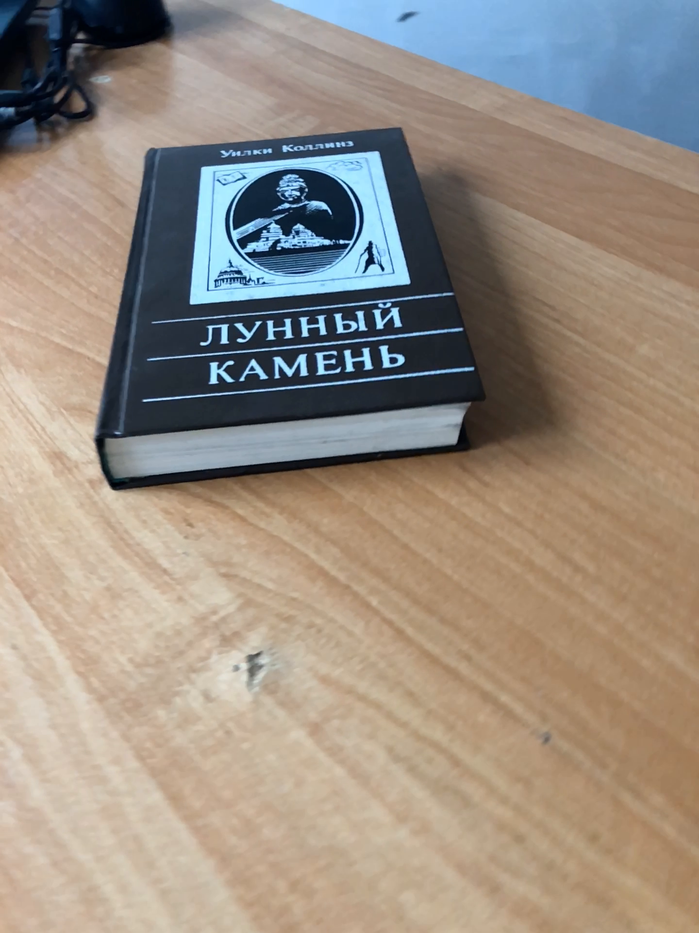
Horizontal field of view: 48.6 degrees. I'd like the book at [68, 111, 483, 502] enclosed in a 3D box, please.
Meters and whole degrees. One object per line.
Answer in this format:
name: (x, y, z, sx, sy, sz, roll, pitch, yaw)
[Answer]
book: (-0.032, -0.081, 0.324, 0.133, 0.032, 0.200, -7, 49, -1)
